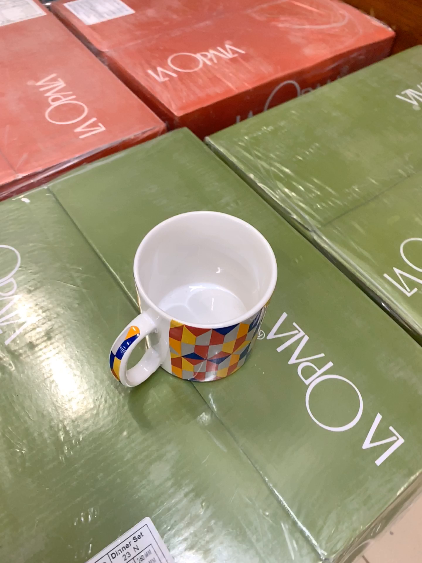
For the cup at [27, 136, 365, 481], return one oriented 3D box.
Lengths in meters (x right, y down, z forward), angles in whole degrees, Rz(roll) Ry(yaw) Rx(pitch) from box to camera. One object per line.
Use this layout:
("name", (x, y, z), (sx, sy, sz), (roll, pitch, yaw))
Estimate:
("cup", (-0.003, 0.012, 0.238), (0.090, 0.100, 0.130), (34, 59, 19))
